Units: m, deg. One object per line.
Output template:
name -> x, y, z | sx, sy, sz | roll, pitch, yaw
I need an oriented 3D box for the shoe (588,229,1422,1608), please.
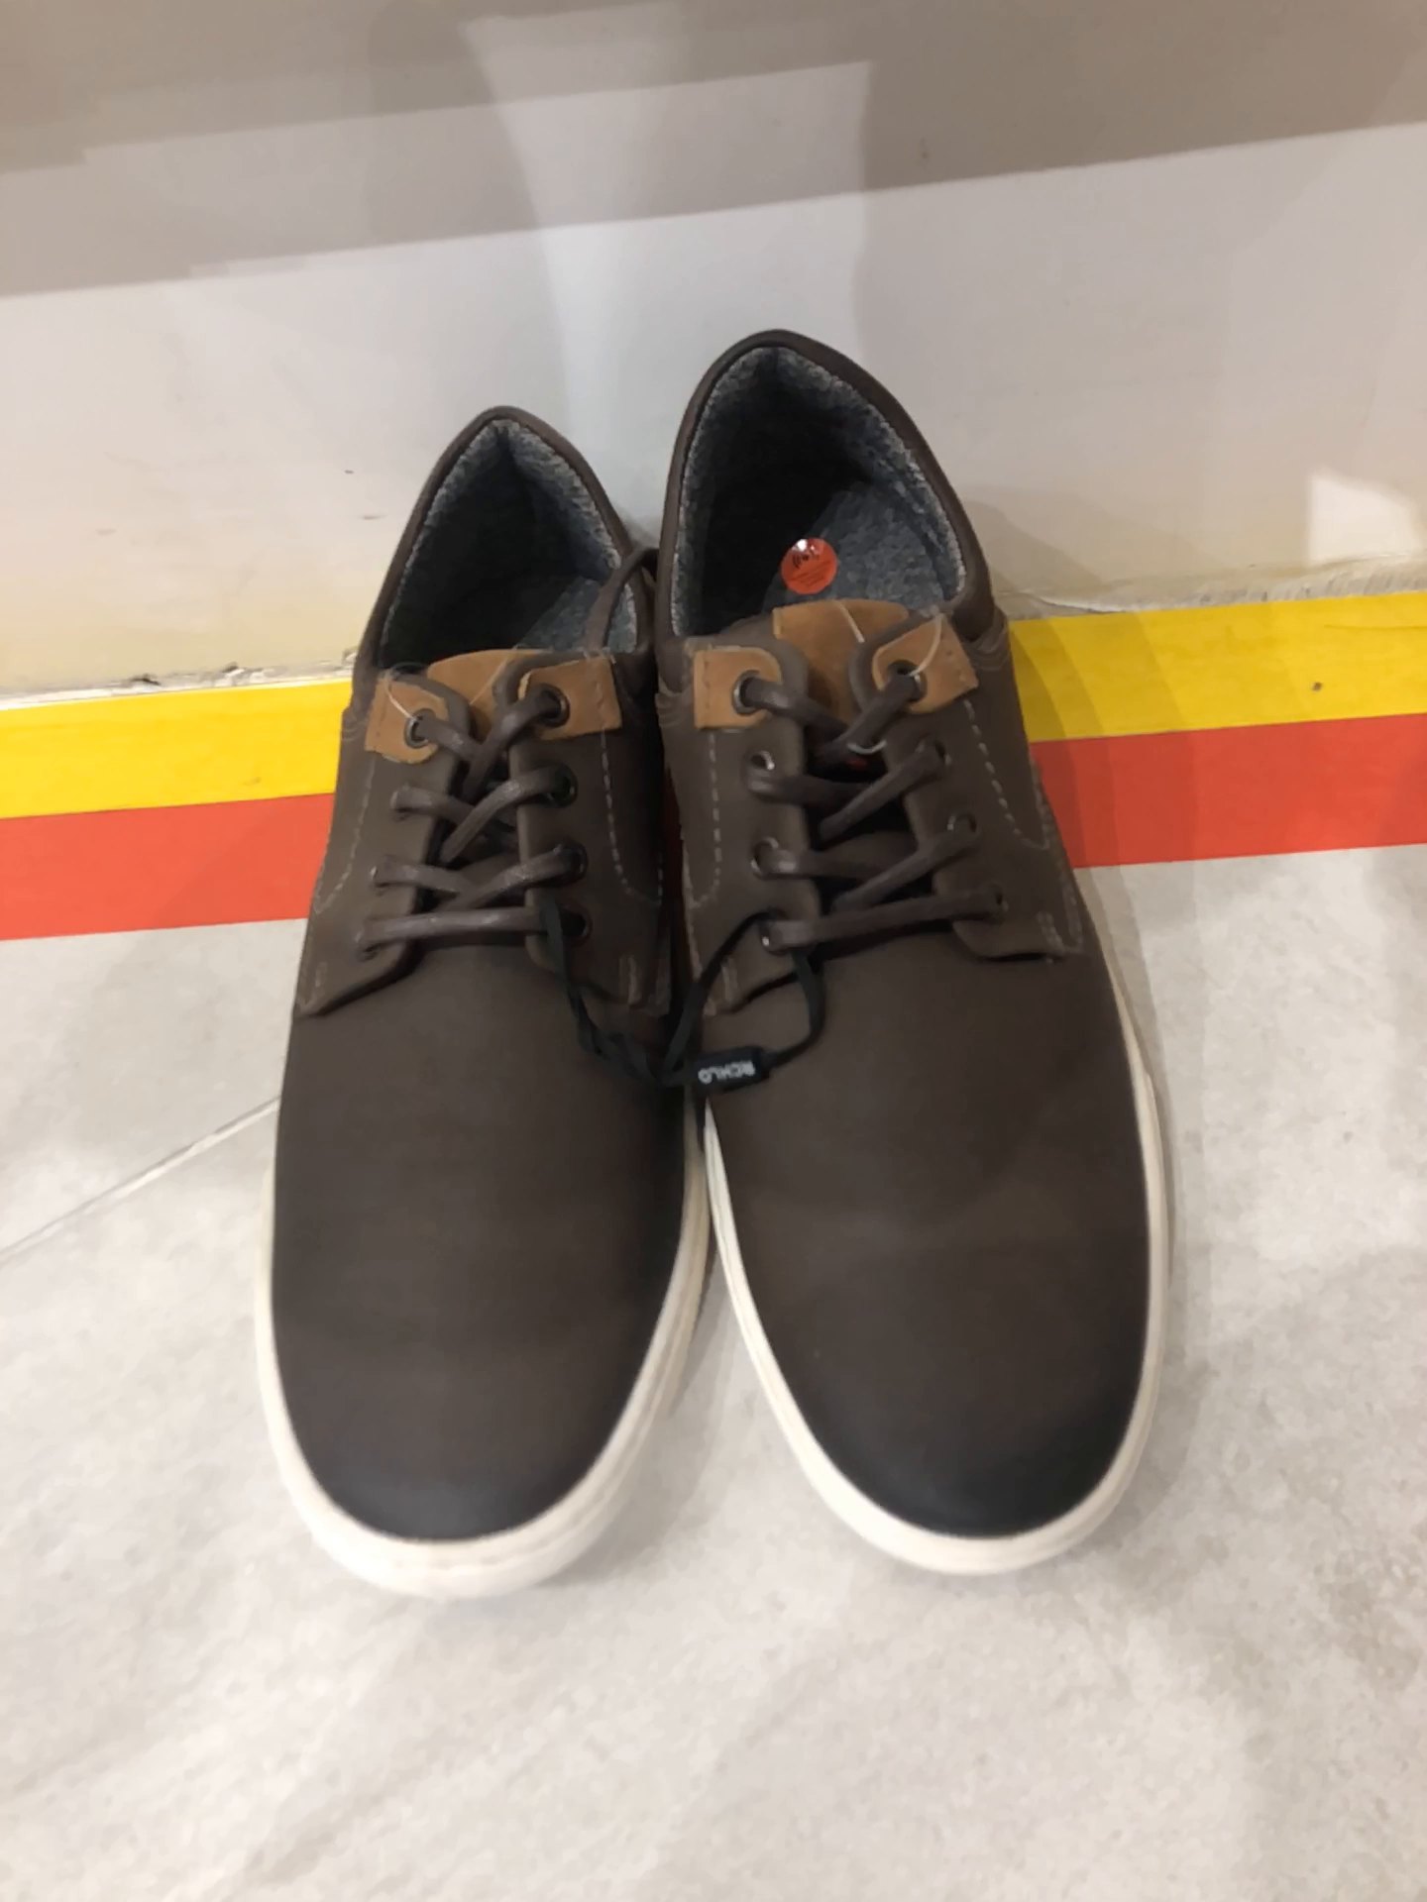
shoe -> 0.043, -0.012, 0.338 | 0.100, 0.100, 0.271 | -9, 66, 1

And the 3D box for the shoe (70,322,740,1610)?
shoe -> -0.052, -0.002, 0.354 | 0.100, 0.100, 0.271 | -4, 63, 5
